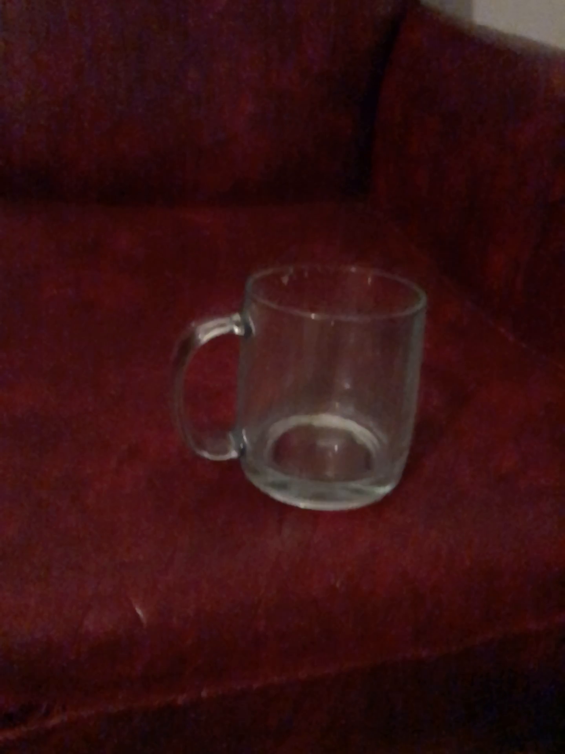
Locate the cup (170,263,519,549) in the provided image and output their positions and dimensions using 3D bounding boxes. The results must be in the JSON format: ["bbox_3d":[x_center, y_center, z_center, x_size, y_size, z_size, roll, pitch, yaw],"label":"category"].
[{"bbox_3d":[0.020,0.004,0.296,0.128,0.089,0.090,-5,25,-19],"label":"cup"}]
